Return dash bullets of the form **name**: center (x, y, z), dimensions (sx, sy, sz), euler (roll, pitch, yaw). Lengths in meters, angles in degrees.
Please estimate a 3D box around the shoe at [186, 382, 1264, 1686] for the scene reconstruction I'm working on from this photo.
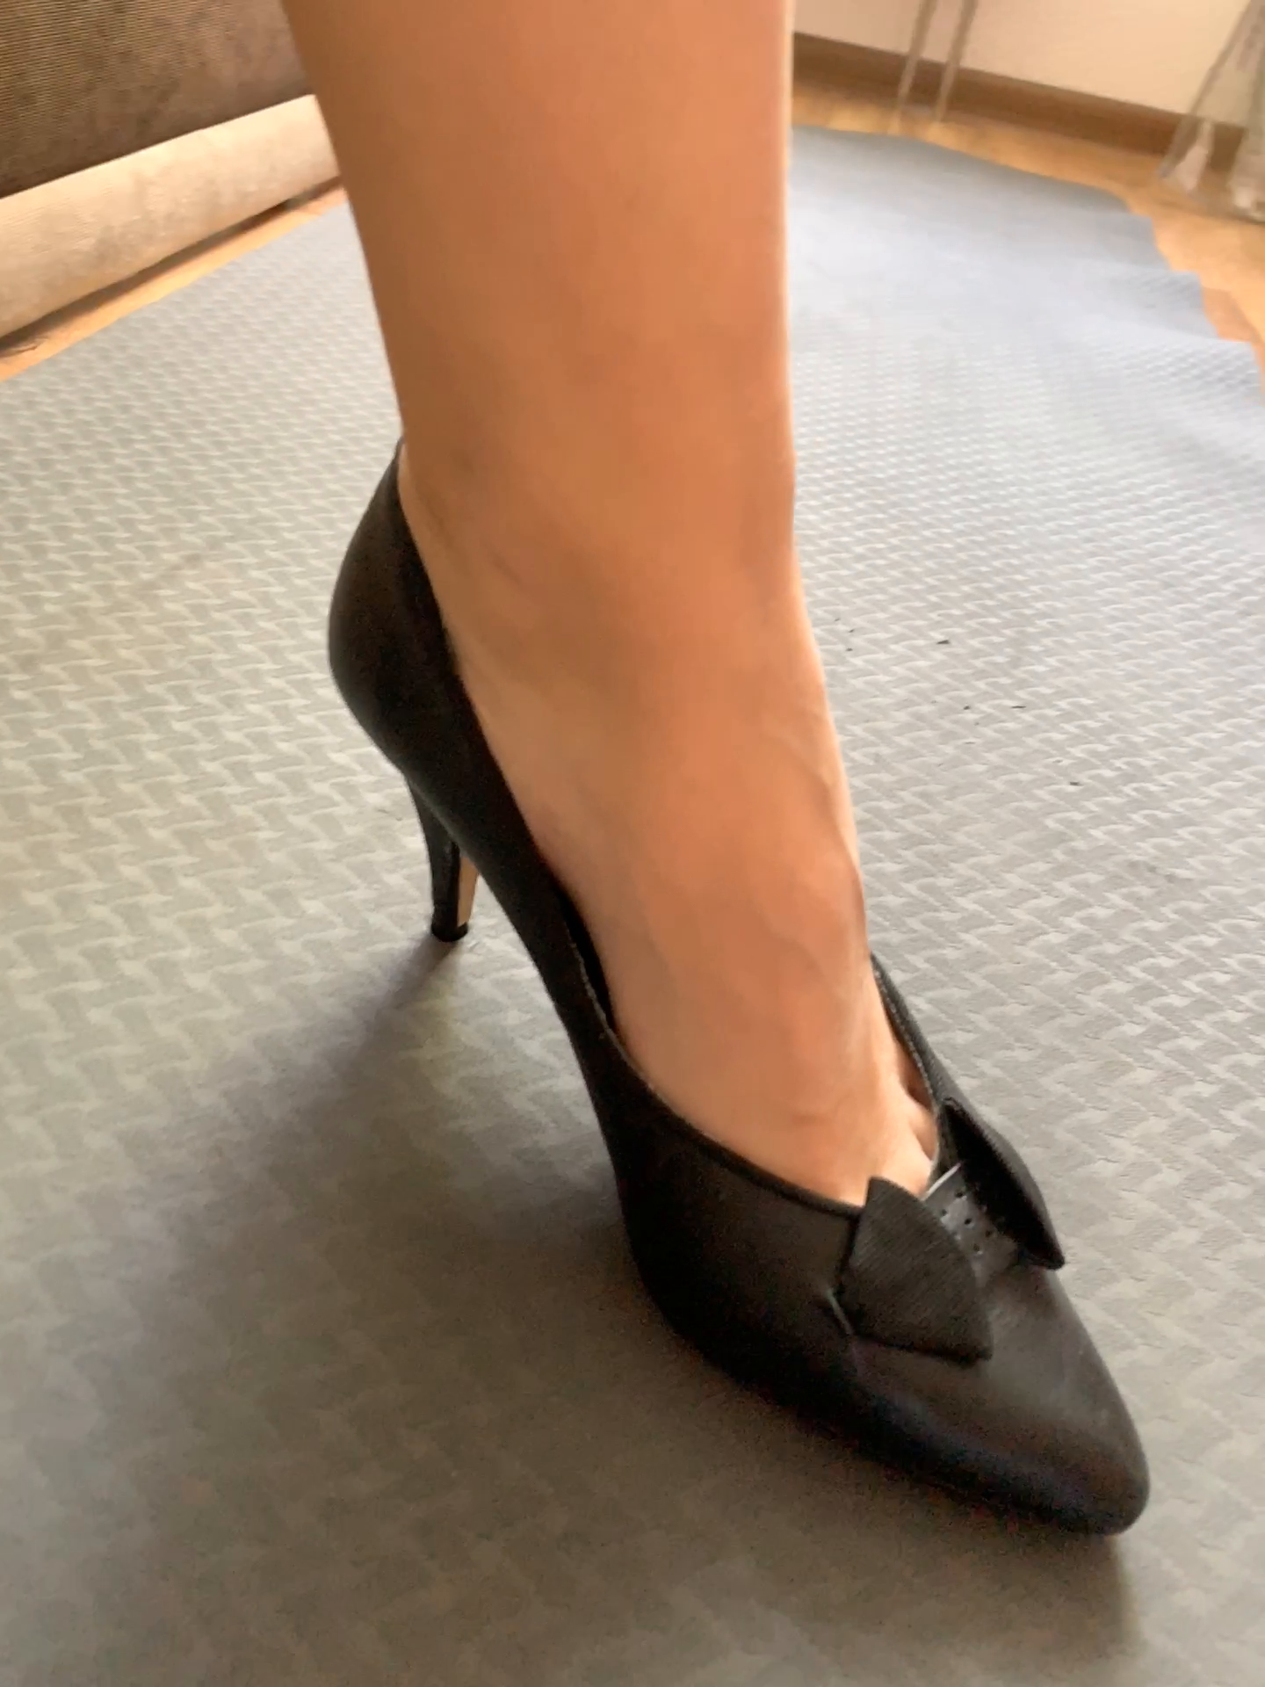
- **shoe**: center (0.020, 0.009, 0.243), dimensions (0.090, 0.099, 0.231), euler (-25, 50, -39)
